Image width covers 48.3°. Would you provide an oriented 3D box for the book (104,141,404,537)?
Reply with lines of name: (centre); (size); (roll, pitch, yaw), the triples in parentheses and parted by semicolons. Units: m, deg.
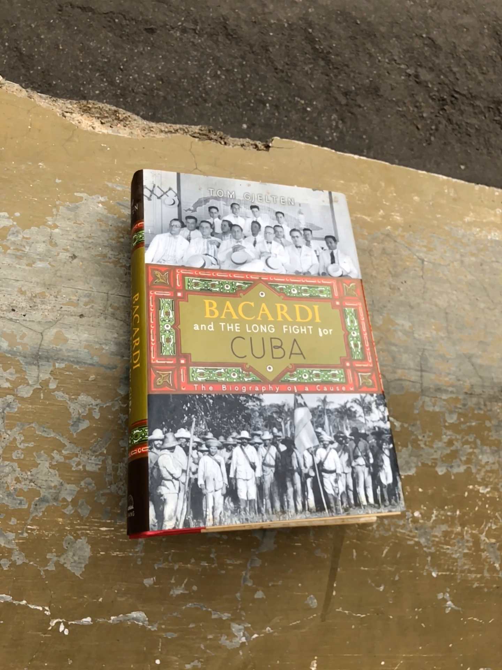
book: (-0.006, -0.003, 0.379); (0.170, 0.050, 0.250); (3, 66, -18)
